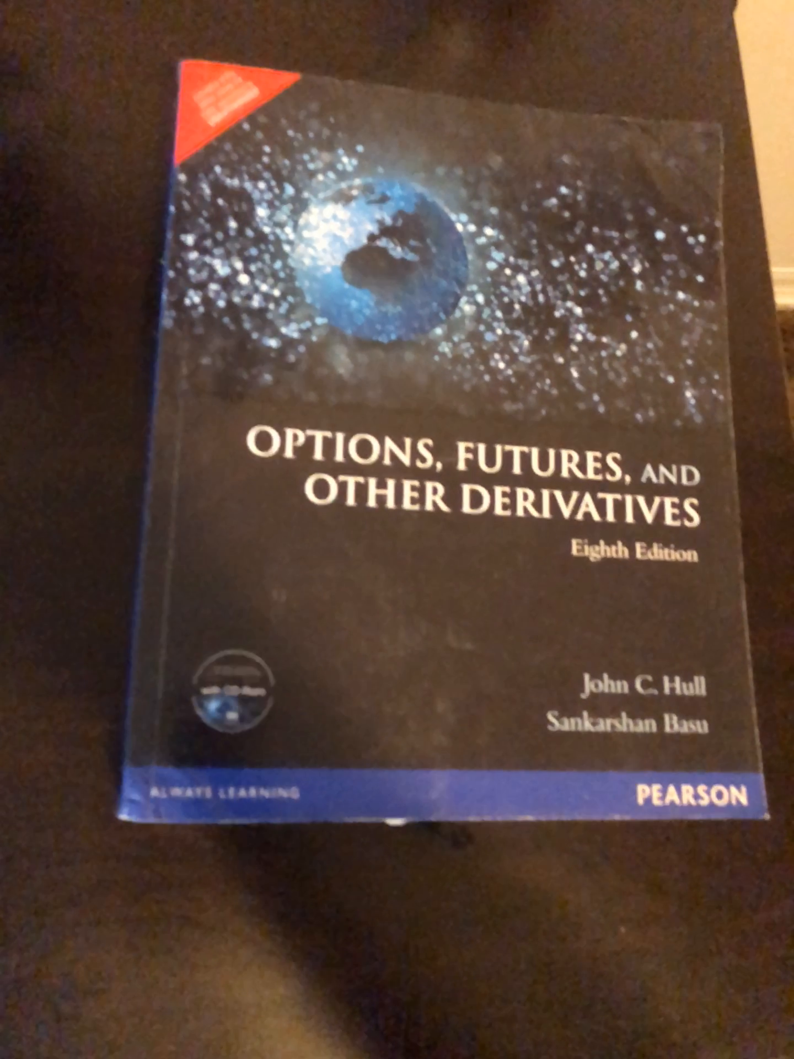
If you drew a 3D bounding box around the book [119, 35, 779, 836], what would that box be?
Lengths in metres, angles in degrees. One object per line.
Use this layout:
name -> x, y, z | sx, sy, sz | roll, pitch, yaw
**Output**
book -> 0.021, -0.031, 0.317 | 0.207, 0.050, 0.261 | 3, 78, -11
